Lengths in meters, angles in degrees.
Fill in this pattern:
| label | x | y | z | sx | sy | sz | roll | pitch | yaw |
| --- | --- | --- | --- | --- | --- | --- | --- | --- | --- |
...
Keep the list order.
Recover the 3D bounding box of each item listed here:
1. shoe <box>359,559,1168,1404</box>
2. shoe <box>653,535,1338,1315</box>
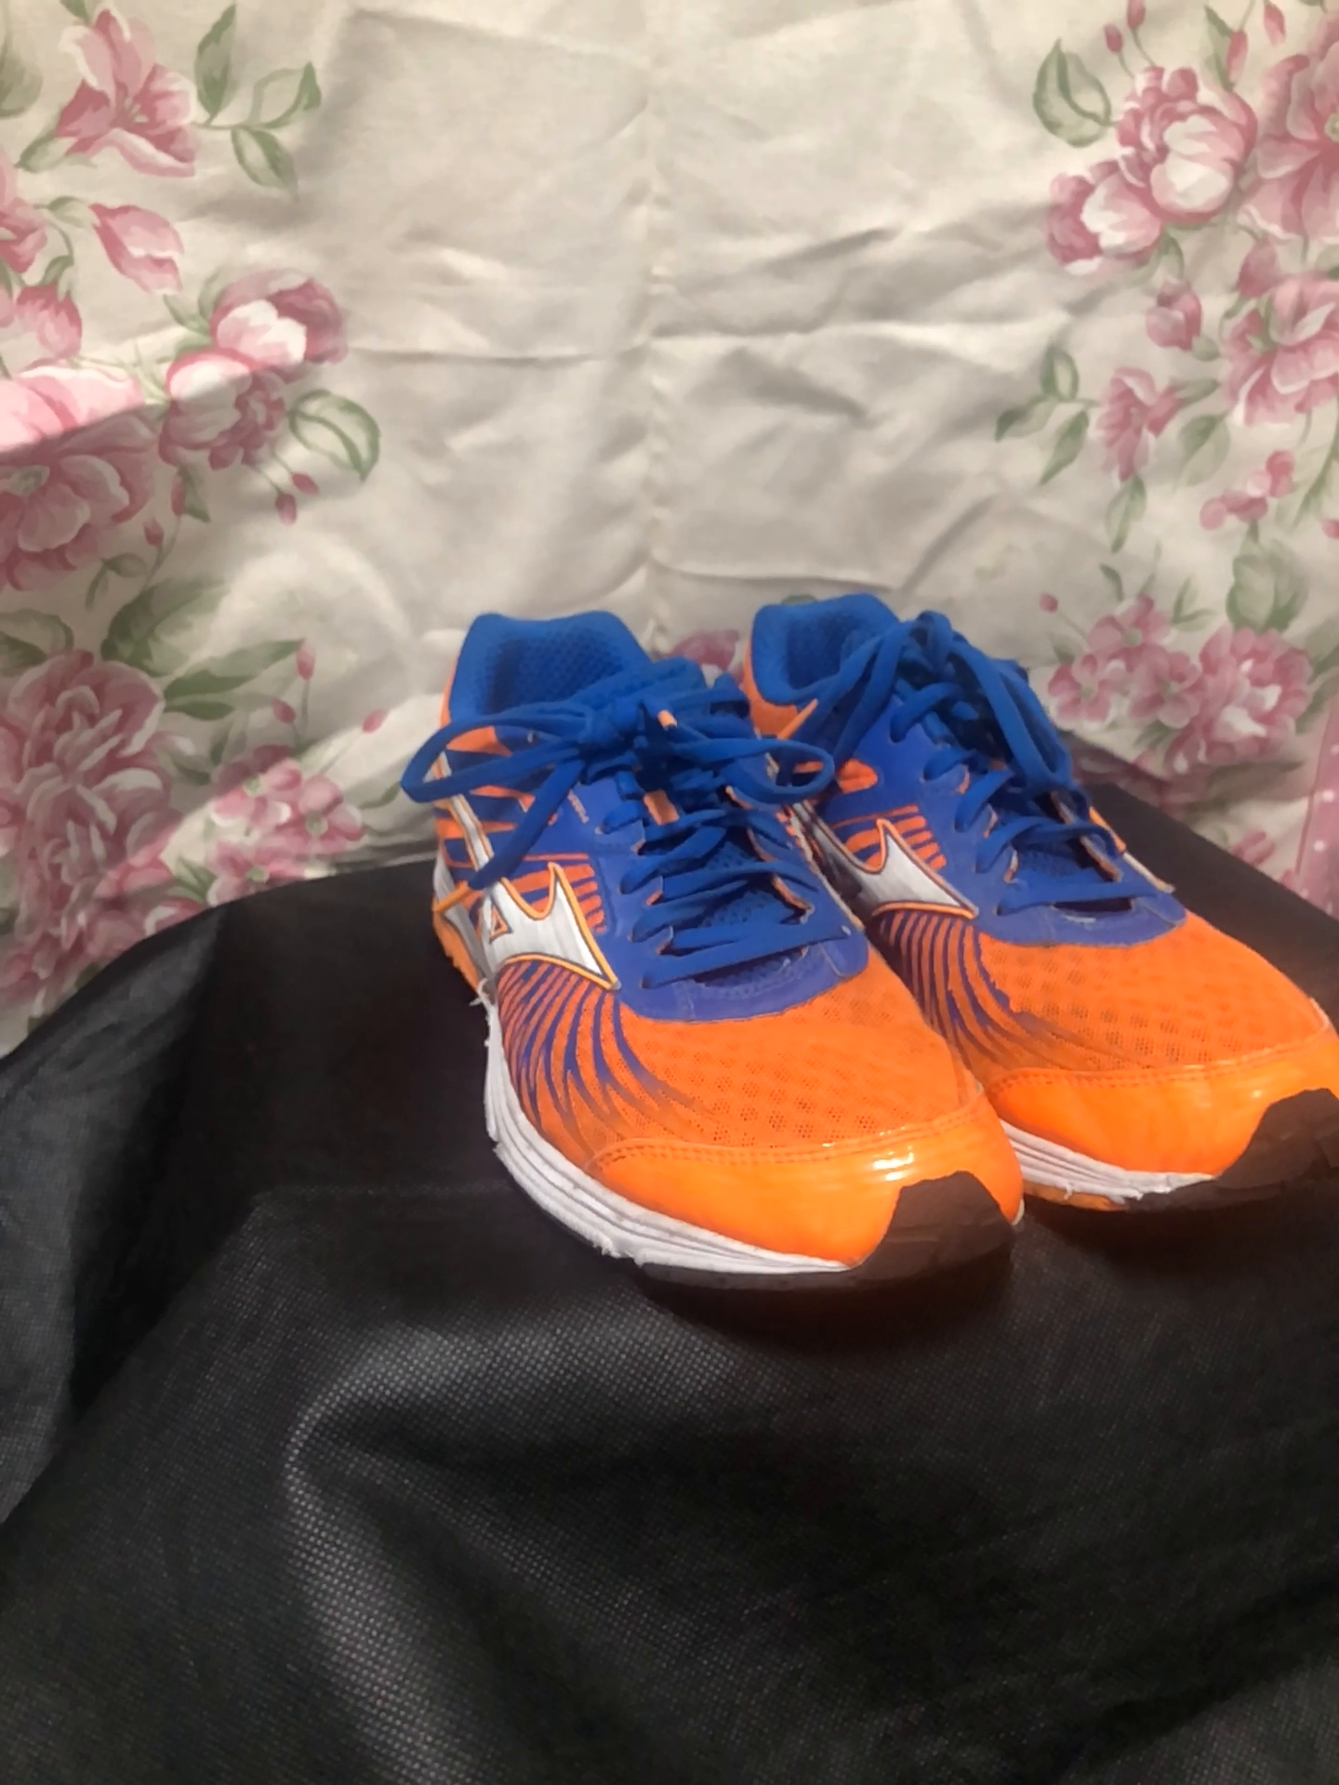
| label | x | y | z | sx | sy | sz | roll | pitch | yaw |
| --- | --- | --- | --- | --- | --- | --- | --- | --- | --- |
| shoe | 0.001 | -0.003 | 0.373 | 0.110 | 0.109 | 0.222 | -9 | 26 | -19 |
| shoe | 0.086 | -0.015 | 0.392 | 0.110 | 0.109 | 0.222 | -9 | 26 | -19 |
